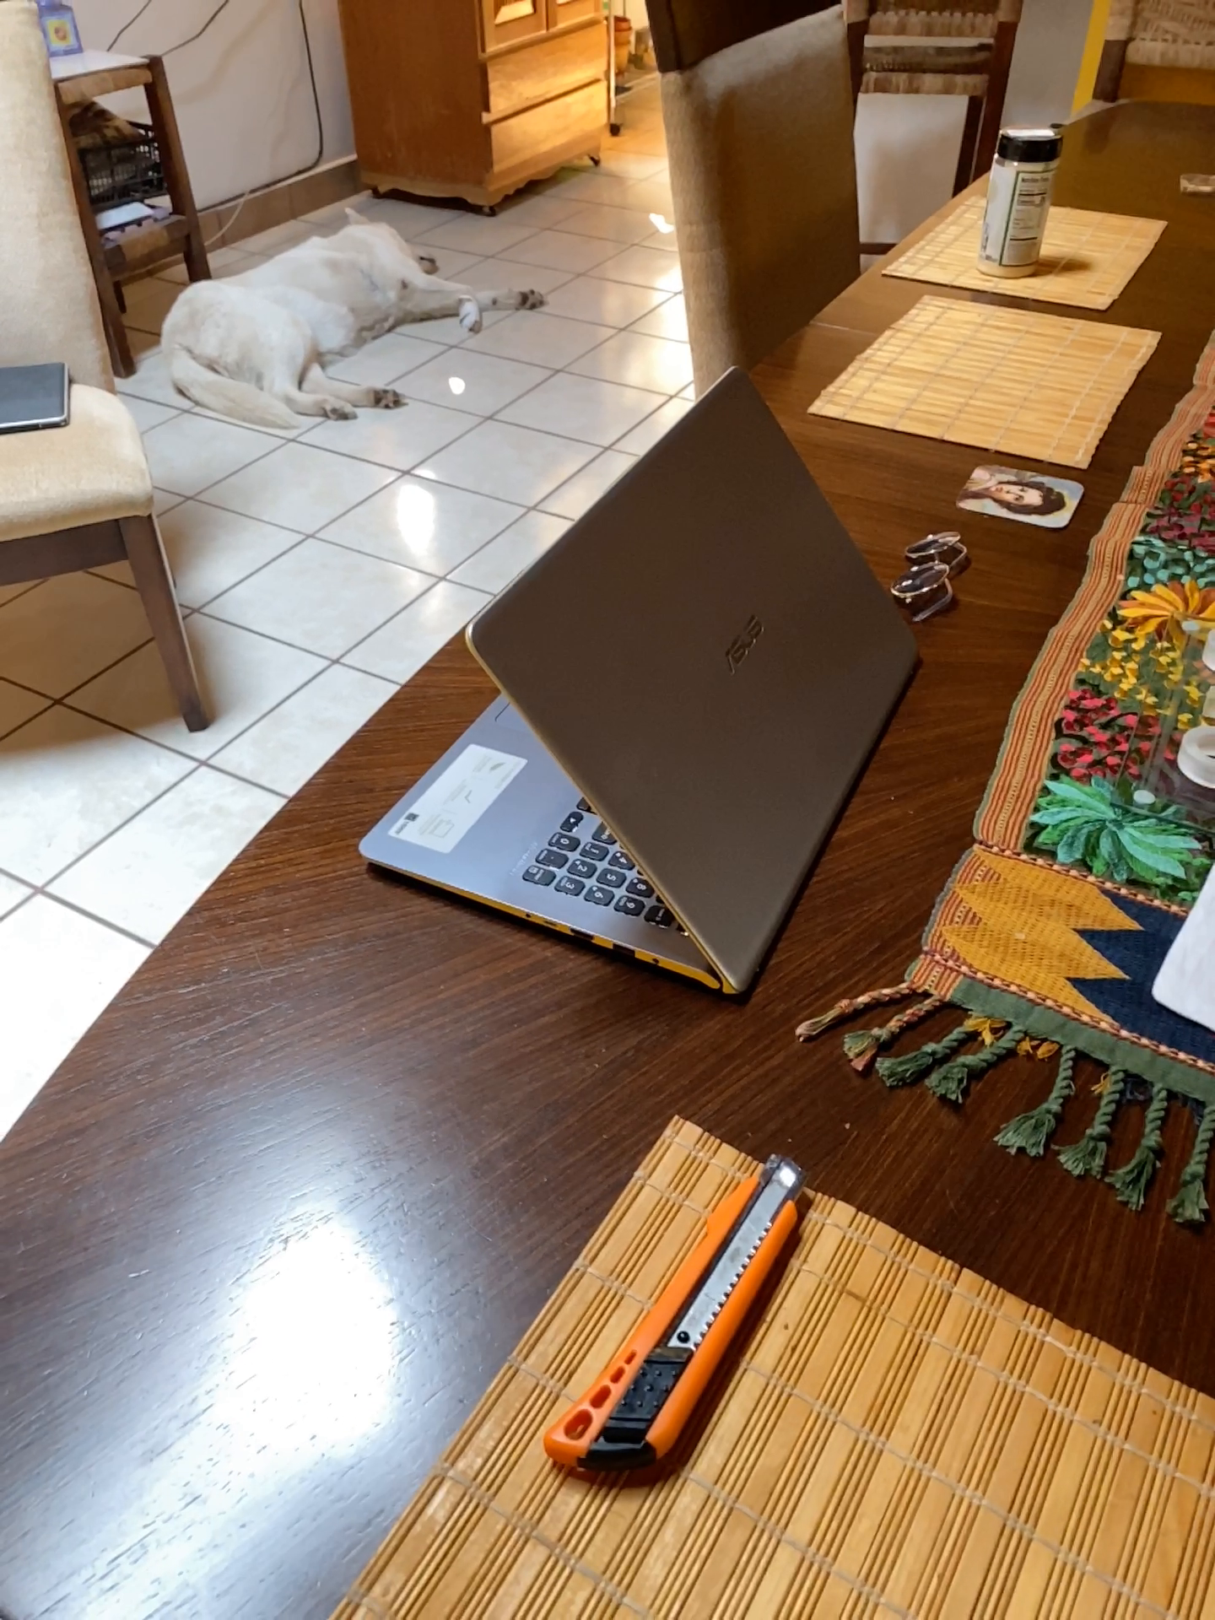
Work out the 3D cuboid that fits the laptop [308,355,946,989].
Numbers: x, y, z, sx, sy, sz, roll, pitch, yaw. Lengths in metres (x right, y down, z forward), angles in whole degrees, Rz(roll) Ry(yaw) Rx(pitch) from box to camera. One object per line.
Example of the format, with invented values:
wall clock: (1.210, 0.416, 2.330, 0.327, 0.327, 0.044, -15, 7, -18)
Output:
laptop: (0.034, -0.117, 0.798, 0.250, 0.181, 0.378, 17, 44, 19)
